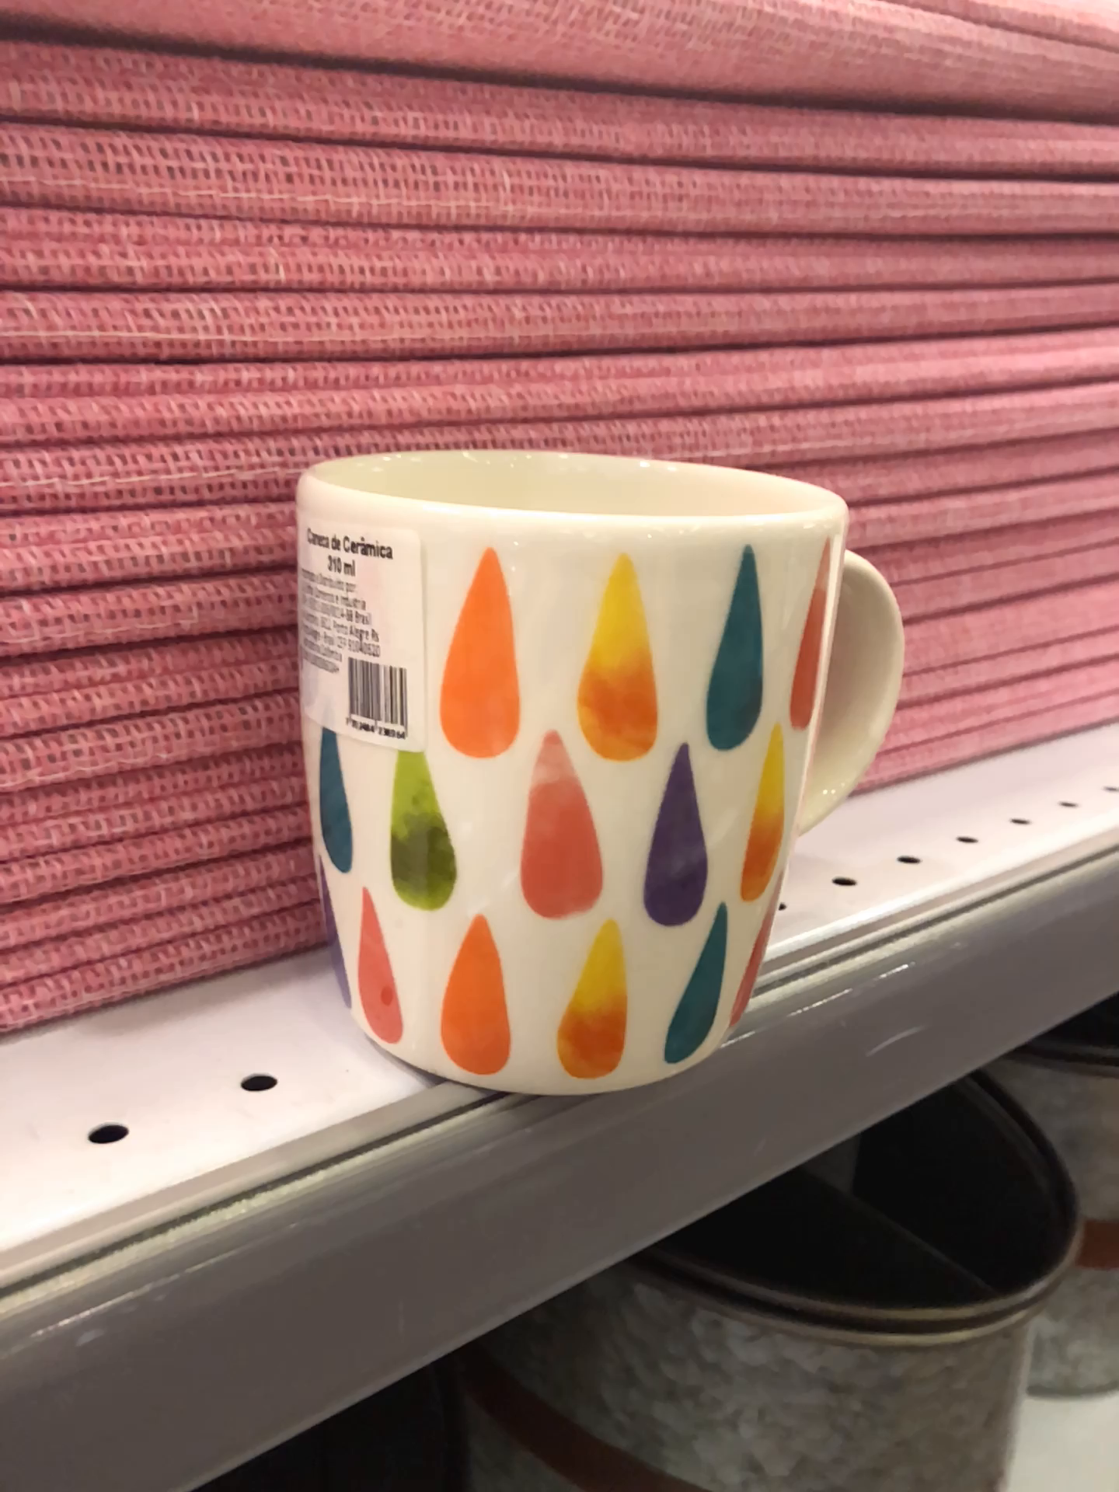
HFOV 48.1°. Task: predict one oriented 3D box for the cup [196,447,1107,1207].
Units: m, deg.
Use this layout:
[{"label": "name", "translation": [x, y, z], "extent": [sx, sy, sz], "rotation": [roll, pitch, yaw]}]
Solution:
[{"label": "cup", "translation": [0.017, -0.004, 0.228], "extent": [0.130, 0.090, 0.090], "rotation": [-11, 22, -39]}]
